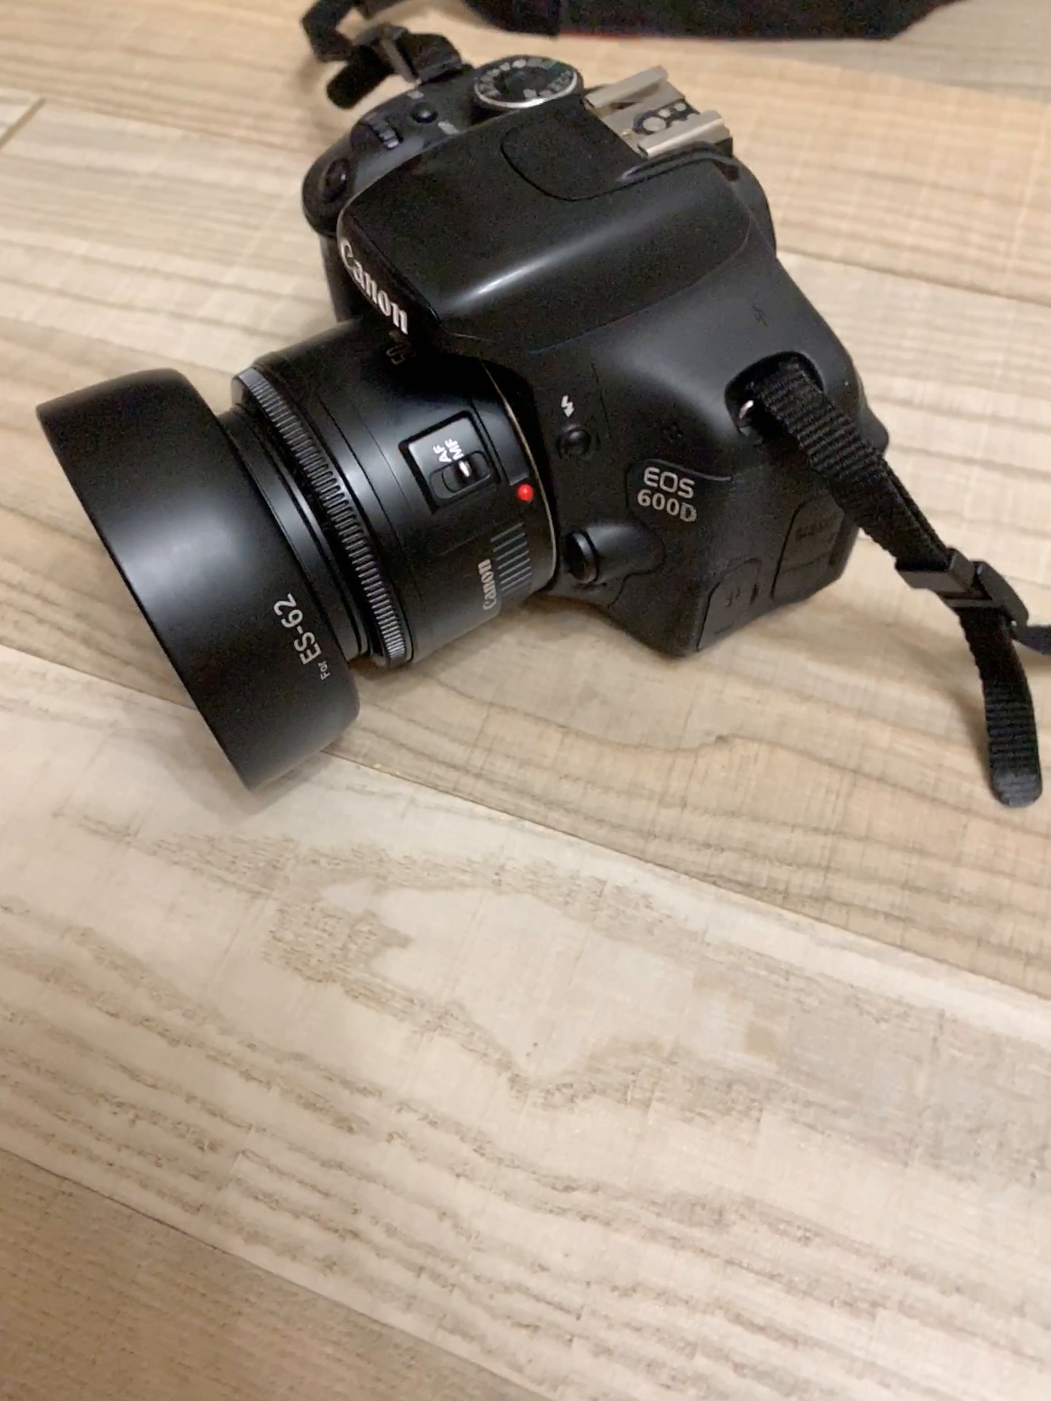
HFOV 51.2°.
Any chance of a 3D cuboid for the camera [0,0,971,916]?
[{"bbox_3d":[-0.026,-0.064,0.230,0.150,0.090,0.139,-29,63,-12],"label":"camera"}]
